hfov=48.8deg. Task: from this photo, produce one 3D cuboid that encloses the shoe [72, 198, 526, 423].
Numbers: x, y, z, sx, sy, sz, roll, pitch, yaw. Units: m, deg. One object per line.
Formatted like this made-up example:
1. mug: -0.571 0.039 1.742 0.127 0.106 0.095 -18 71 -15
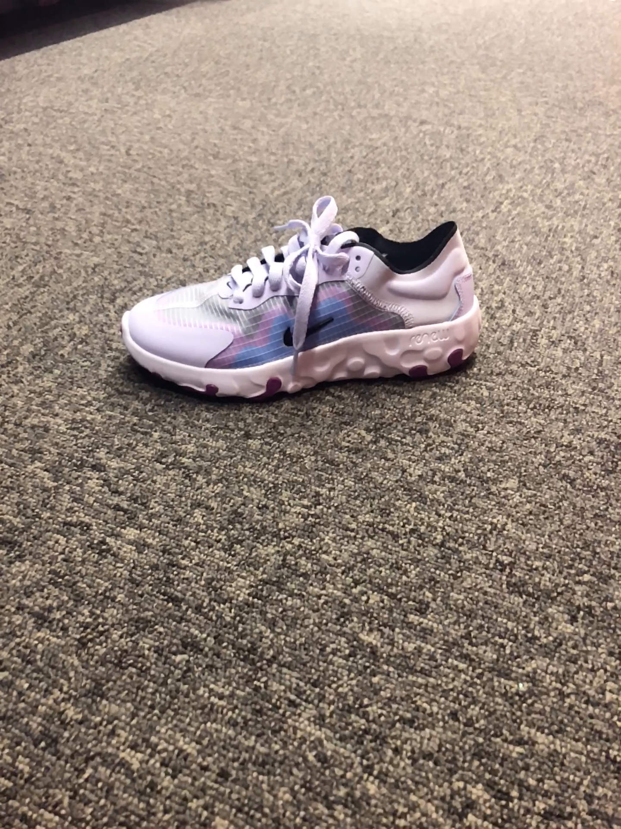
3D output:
1. shoe: -0.007 -0.073 0.462 0.260 0.099 0.101 -3 40 -3
